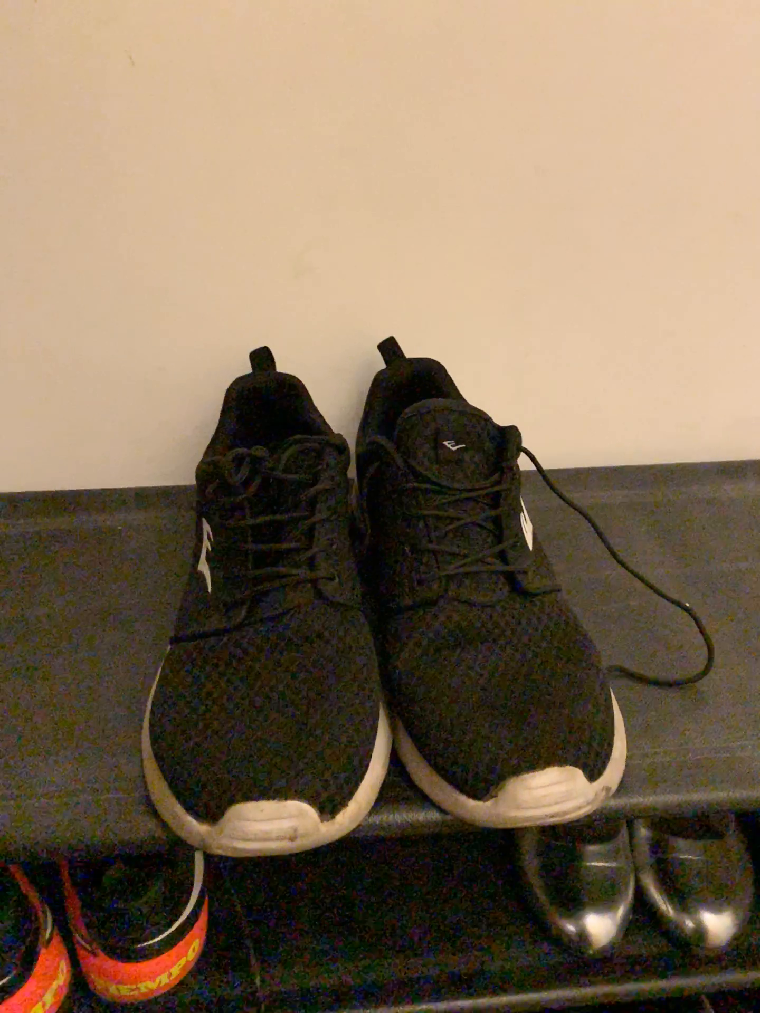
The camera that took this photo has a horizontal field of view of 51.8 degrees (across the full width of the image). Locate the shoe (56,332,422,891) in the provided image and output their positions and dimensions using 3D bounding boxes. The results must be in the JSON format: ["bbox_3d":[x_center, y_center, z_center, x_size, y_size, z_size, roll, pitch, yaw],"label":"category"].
[{"bbox_3d":[-0.054,0.015,0.391,0.110,0.099,0.303,-2,33,-4],"label":"shoe"}]

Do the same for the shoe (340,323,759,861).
[{"bbox_3d":[0.050,0.007,0.401,0.120,0.099,0.303,-3,33,-5],"label":"shoe"}]
